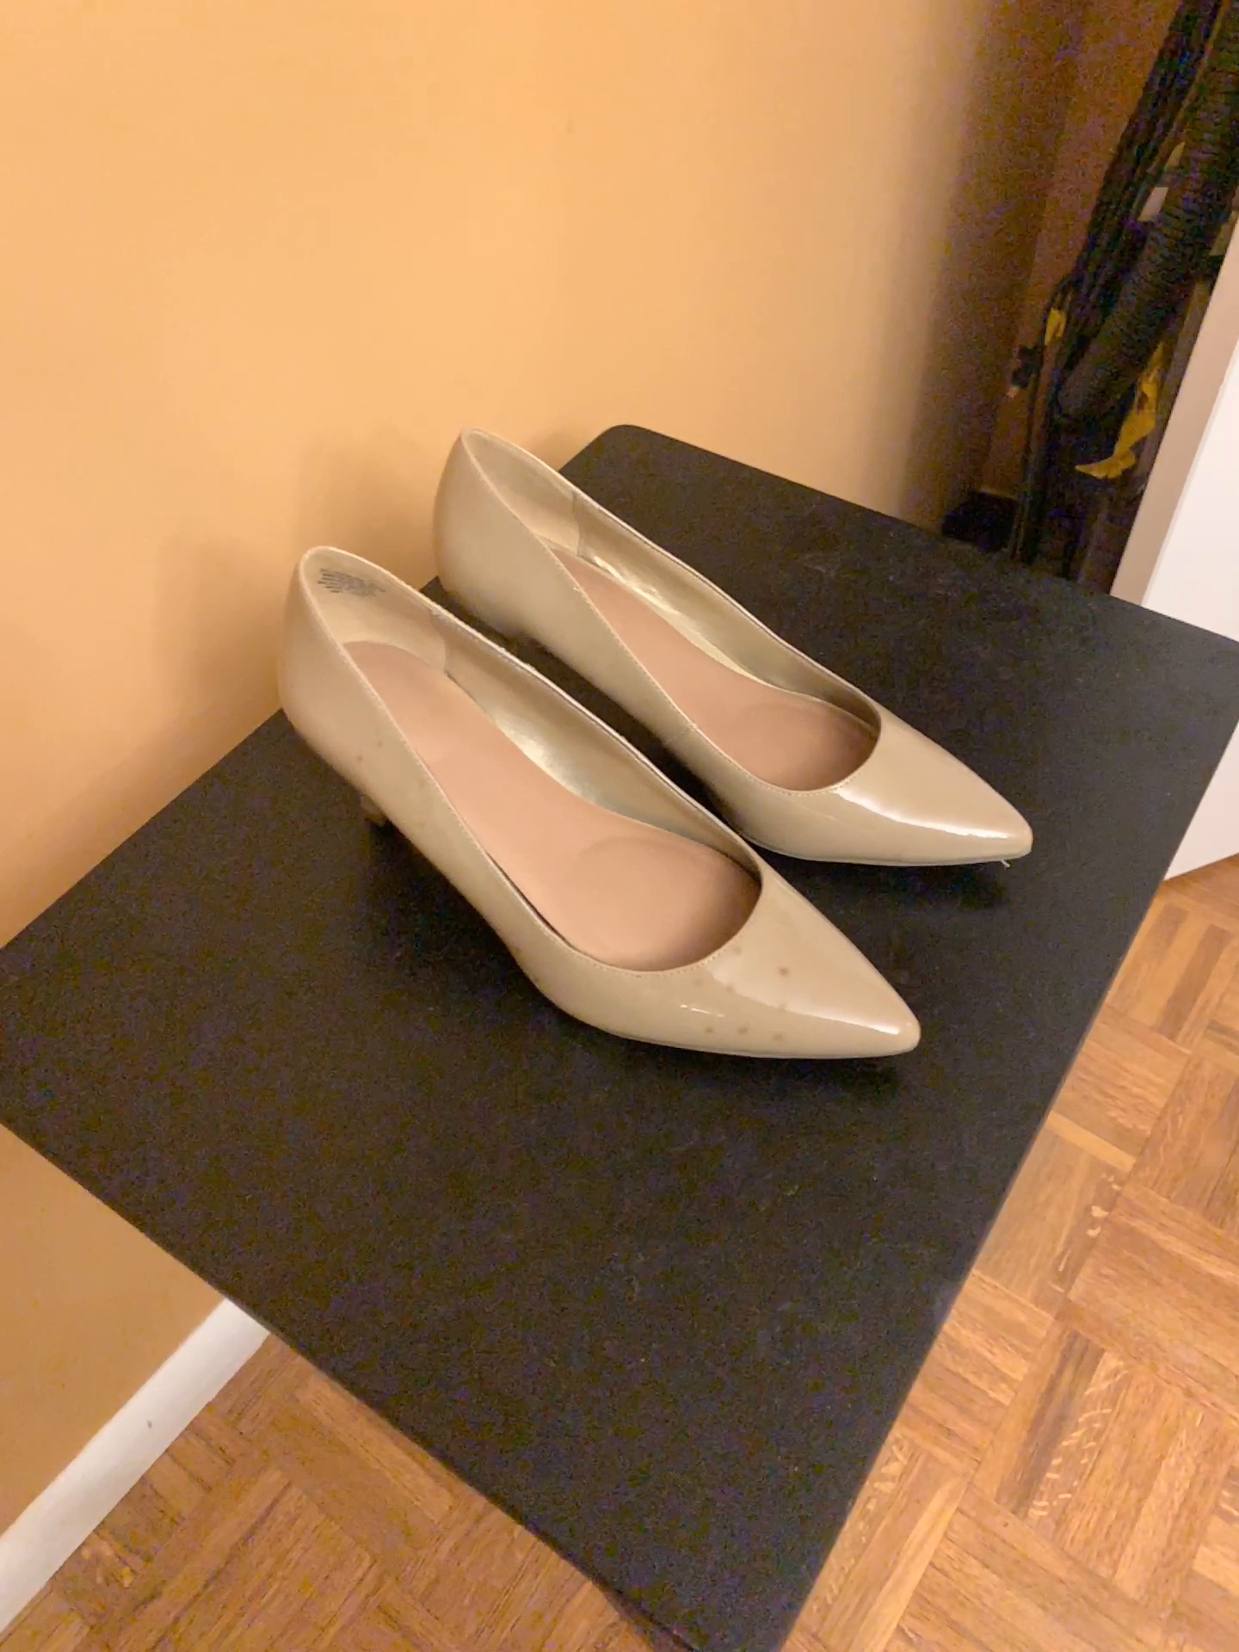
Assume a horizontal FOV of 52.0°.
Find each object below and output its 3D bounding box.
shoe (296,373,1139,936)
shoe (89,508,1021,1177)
[{"bbox_3d":[0.029,-0.079,0.505,0.300,0.090,0.100,23,54,21],"label":"shoe"},{"bbox_3d":[-0.029,-0.006,0.451,0.300,0.090,0.100,23,54,21],"label":"shoe"}]
